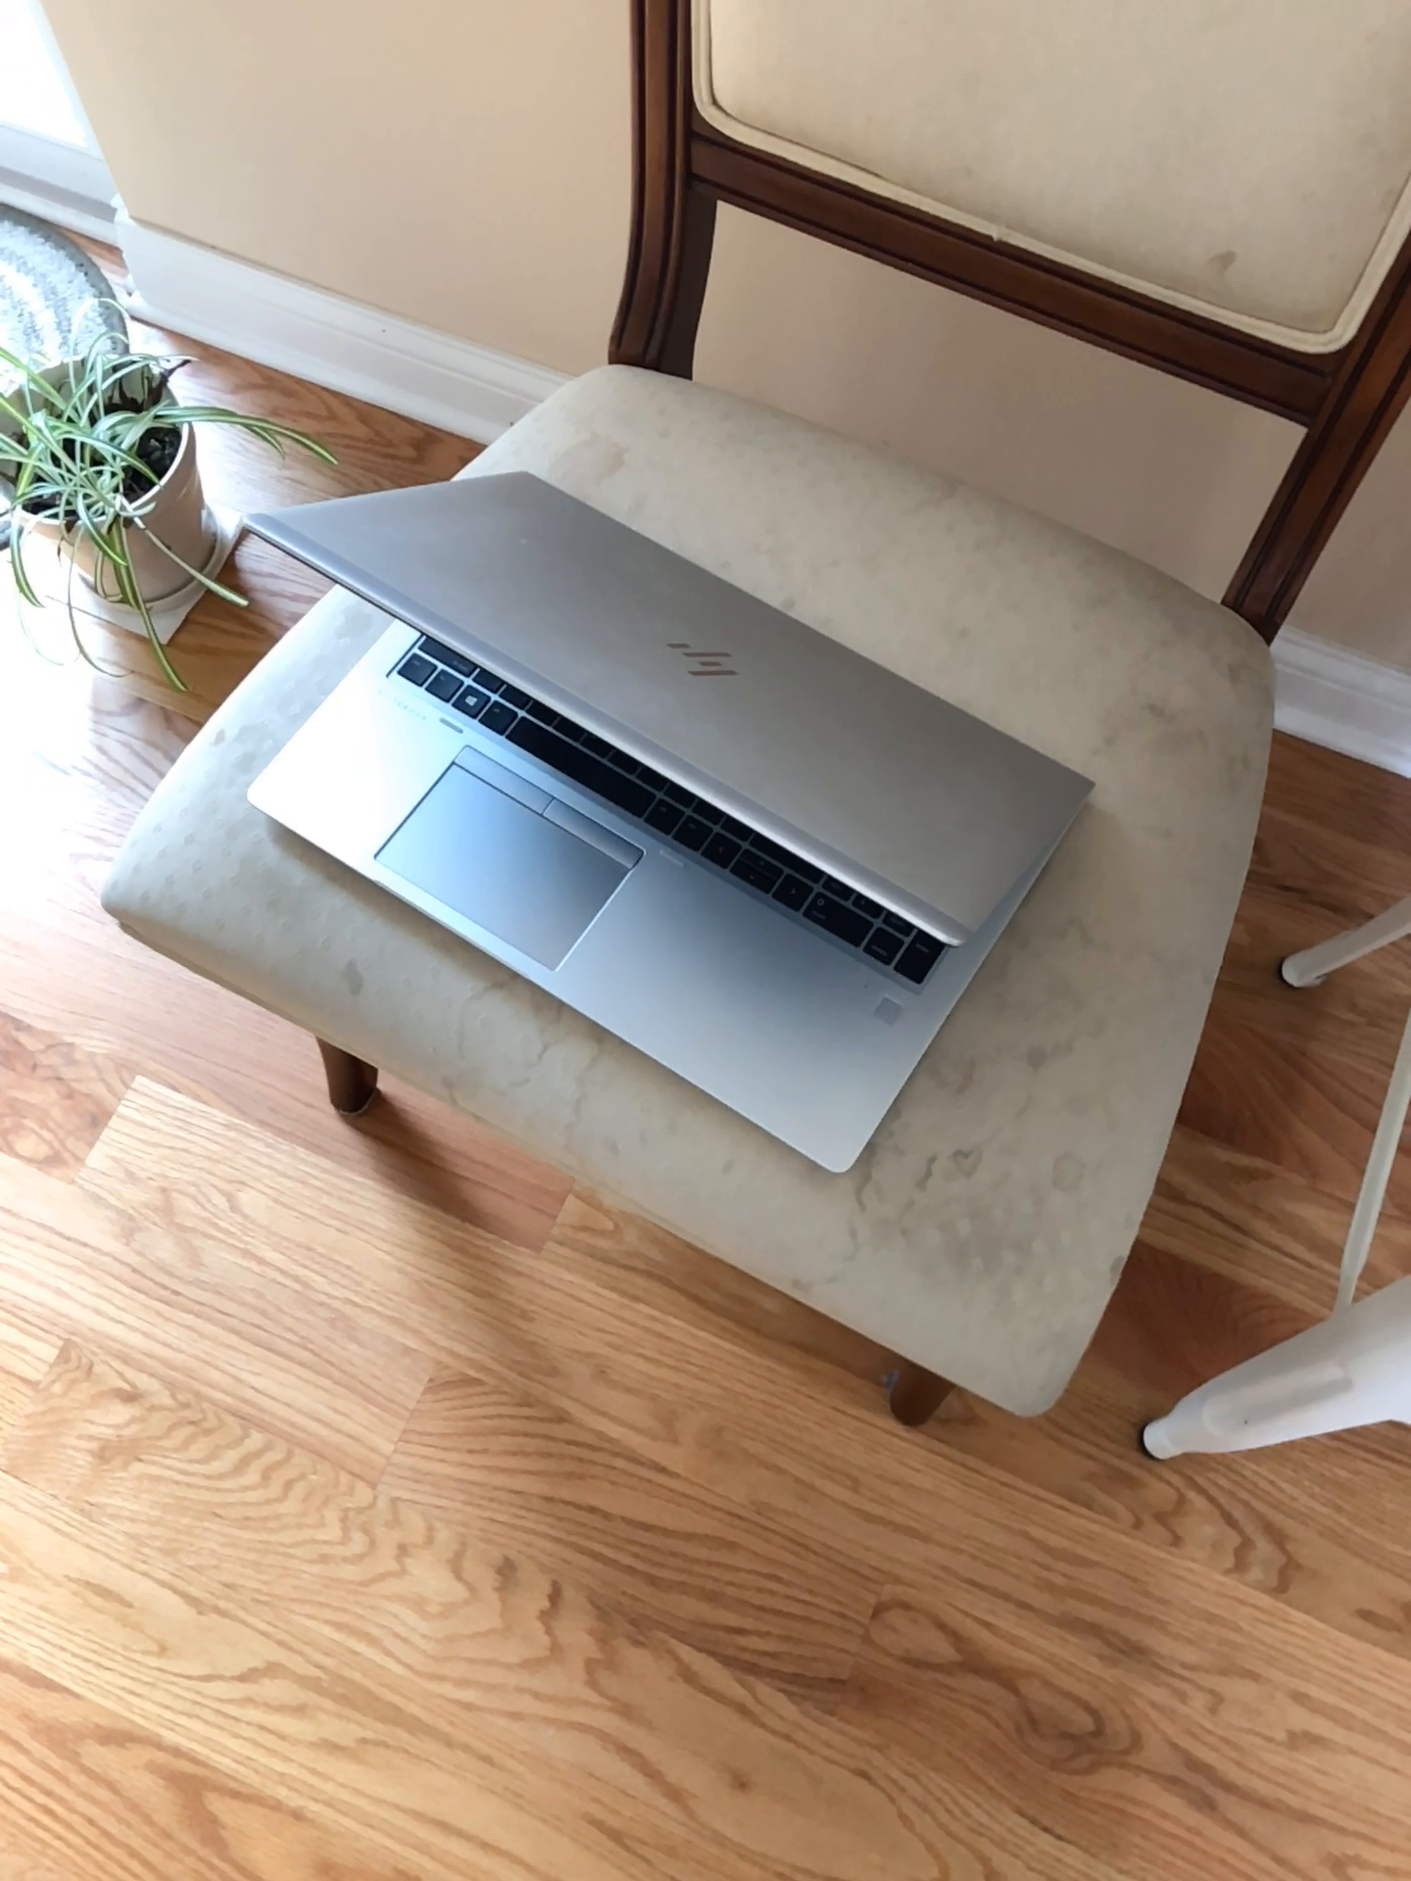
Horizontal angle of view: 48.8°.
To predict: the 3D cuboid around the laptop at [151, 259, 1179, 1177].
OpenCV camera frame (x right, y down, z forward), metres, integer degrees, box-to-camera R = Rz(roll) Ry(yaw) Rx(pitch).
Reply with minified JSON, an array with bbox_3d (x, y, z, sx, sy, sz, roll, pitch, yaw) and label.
[{"bbox_3d":[-0.018,-0.107,0.736,0.366,0.159,0.244,31,71,13],"label":"laptop"}]
